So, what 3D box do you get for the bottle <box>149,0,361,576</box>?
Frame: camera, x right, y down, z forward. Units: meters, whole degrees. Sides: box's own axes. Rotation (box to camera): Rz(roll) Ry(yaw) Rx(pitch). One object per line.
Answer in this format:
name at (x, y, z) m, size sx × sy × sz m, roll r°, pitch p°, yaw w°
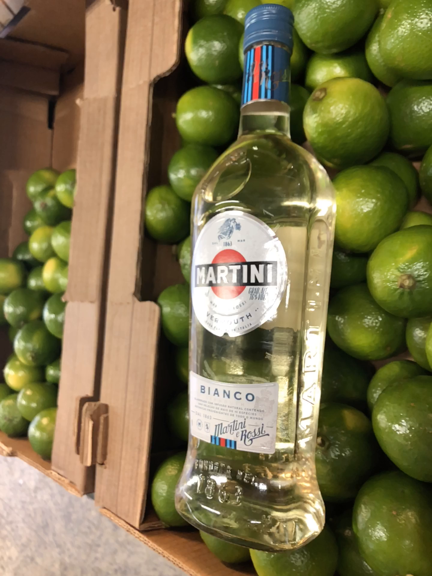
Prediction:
bottle at (0.023, -0.016, 0.293) m, size 0.101 × 0.050 × 0.320 m, roll -1°, pitch 83°, yaw 42°
